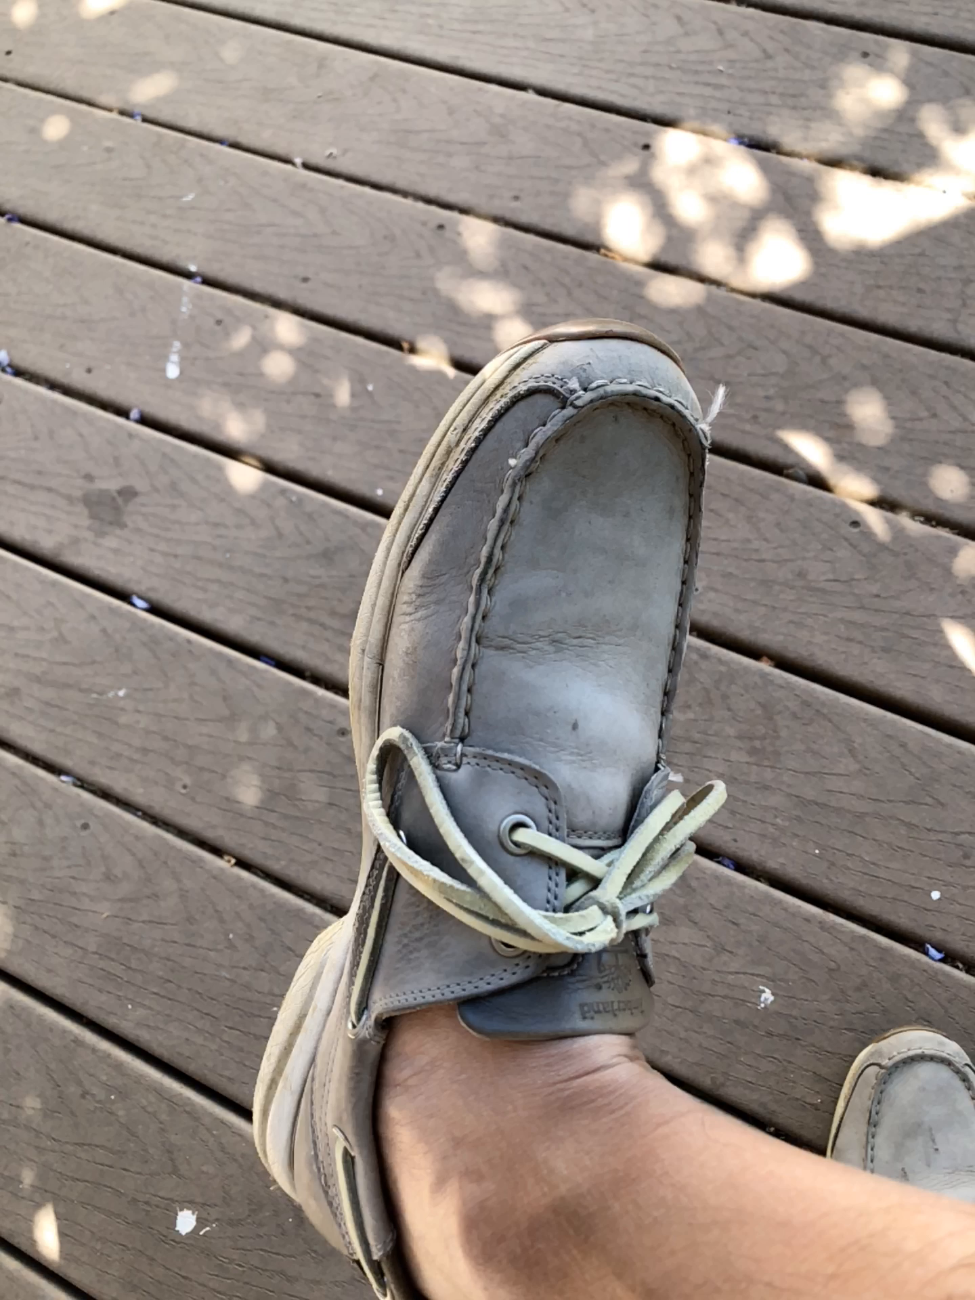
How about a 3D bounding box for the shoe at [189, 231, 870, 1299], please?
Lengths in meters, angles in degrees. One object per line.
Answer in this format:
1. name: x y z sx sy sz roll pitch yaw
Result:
1. shoe: 0.009 0.058 0.333 0.083 0.116 0.326 20 99 50
